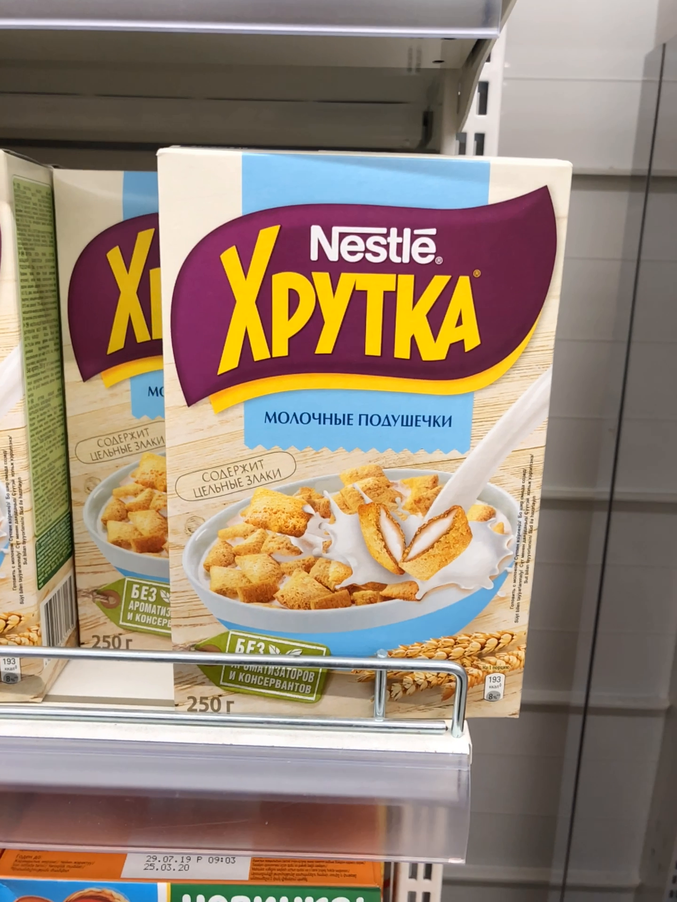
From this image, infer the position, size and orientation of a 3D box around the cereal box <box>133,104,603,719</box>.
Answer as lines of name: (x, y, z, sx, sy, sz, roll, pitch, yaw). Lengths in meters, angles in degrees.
cereal box: (0.006, -0.008, 0.291, 0.150, 0.219, 0.050, 1, 14, -2)
